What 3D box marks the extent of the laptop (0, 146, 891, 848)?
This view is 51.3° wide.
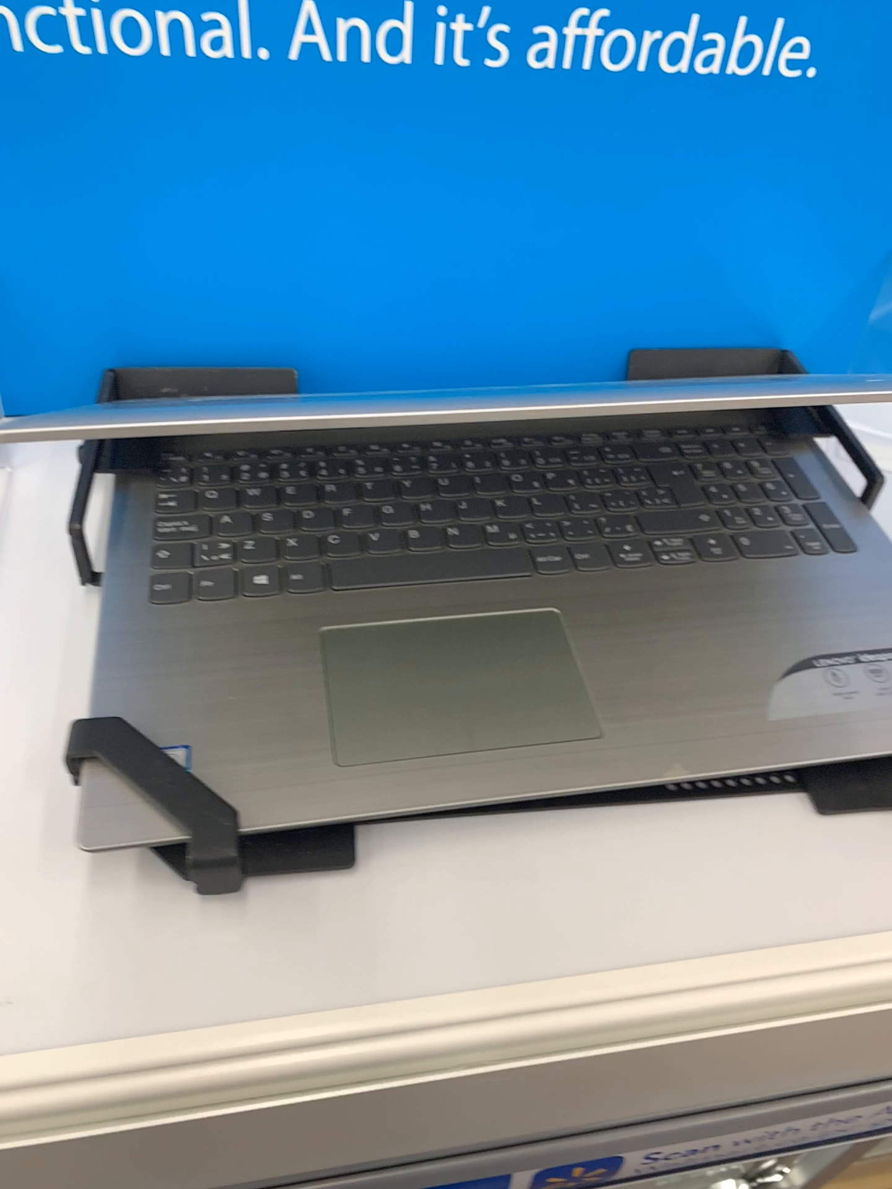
[{"bbox_3d":[0.038,-0.057,0.333,0.324,0.110,0.220,-4,46,-11],"label":"laptop"}]
